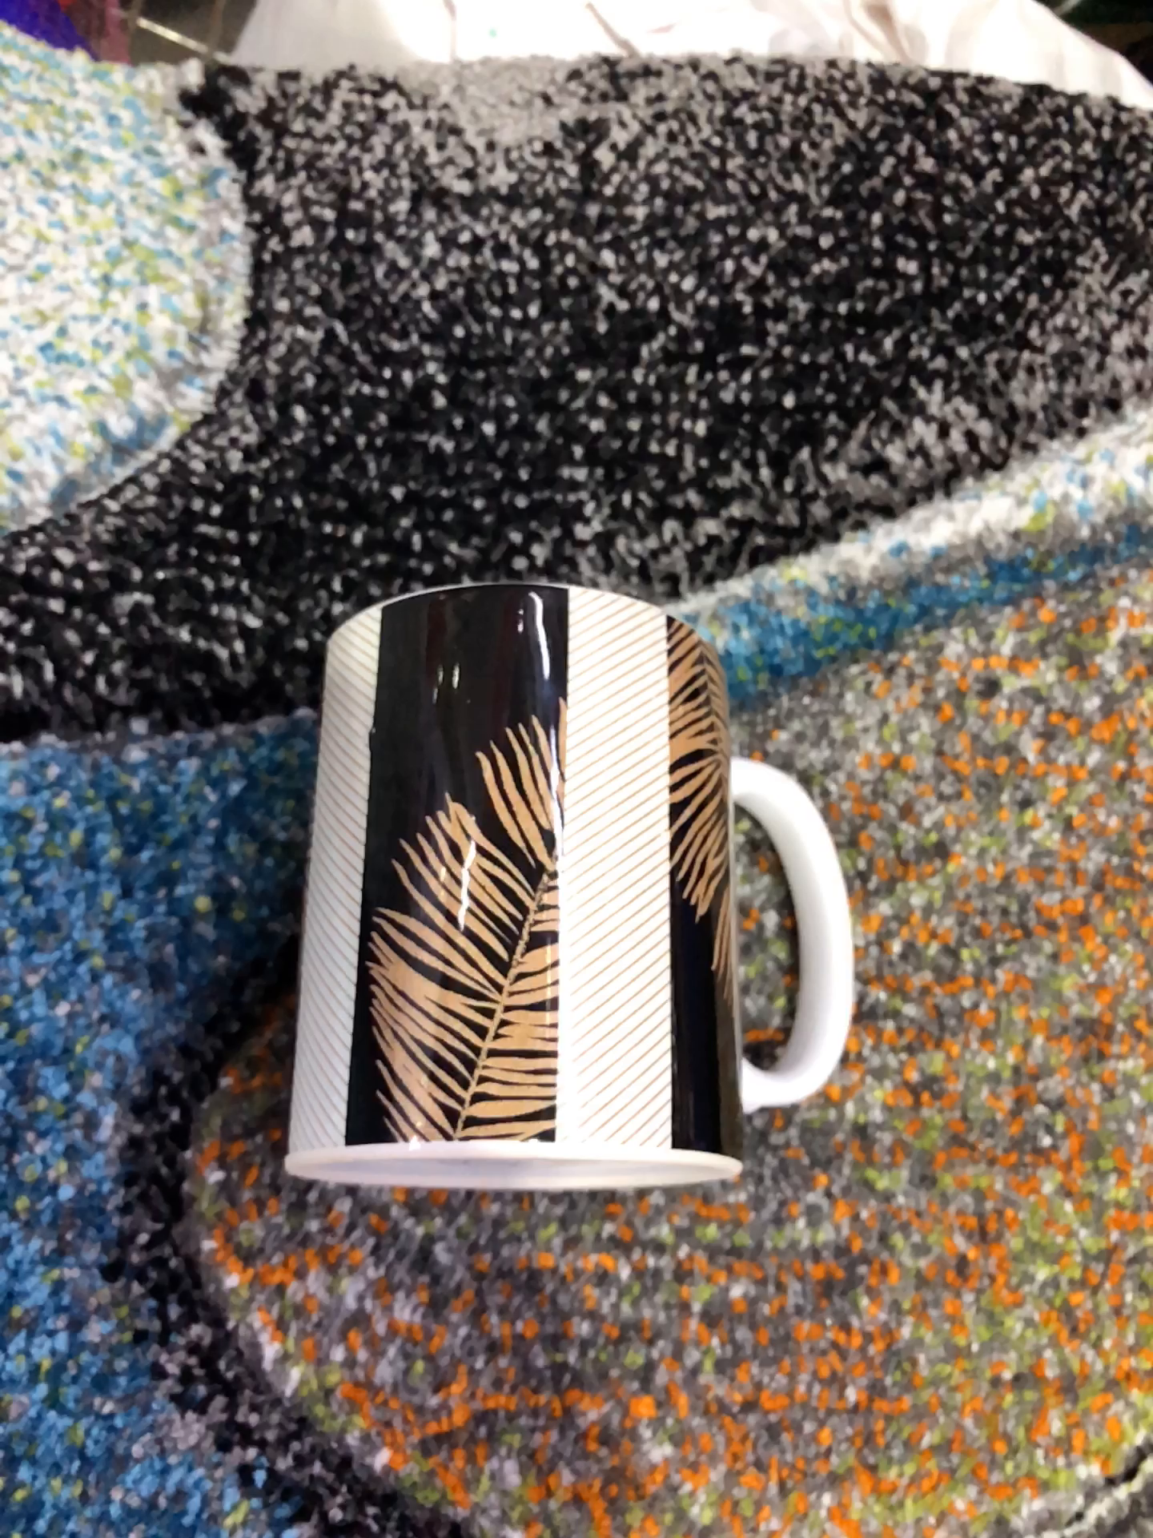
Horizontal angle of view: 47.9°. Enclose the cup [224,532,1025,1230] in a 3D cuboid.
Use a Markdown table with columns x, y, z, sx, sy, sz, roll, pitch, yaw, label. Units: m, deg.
| x | y | z | sx | sy | sz | roll | pitch | yaw | label |
| --- | --- | --- | --- | --- | --- | --- | --- | --- | --- |
| 0.009 | 0.031 | 0.241 | 0.120 | 0.070 | 0.100 | 12 | 67 | -32 | cup |
